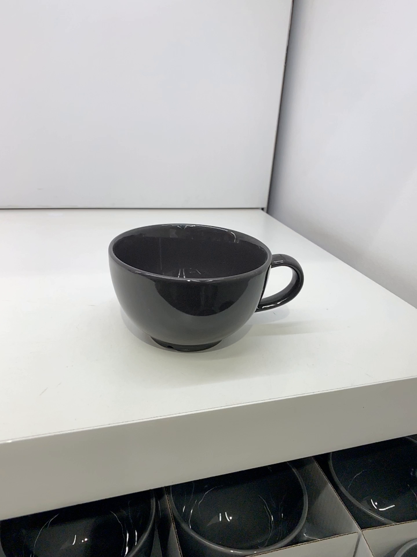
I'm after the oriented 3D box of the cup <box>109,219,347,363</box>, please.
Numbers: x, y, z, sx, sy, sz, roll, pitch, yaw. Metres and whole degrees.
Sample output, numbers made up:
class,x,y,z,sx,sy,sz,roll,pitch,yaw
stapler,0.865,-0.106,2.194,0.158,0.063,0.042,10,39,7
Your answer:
class,x,y,z,sx,sy,sz,roll,pitch,yaw
cup,0.001,0.000,0.286,0.130,0.050,0.110,-1,23,-13
